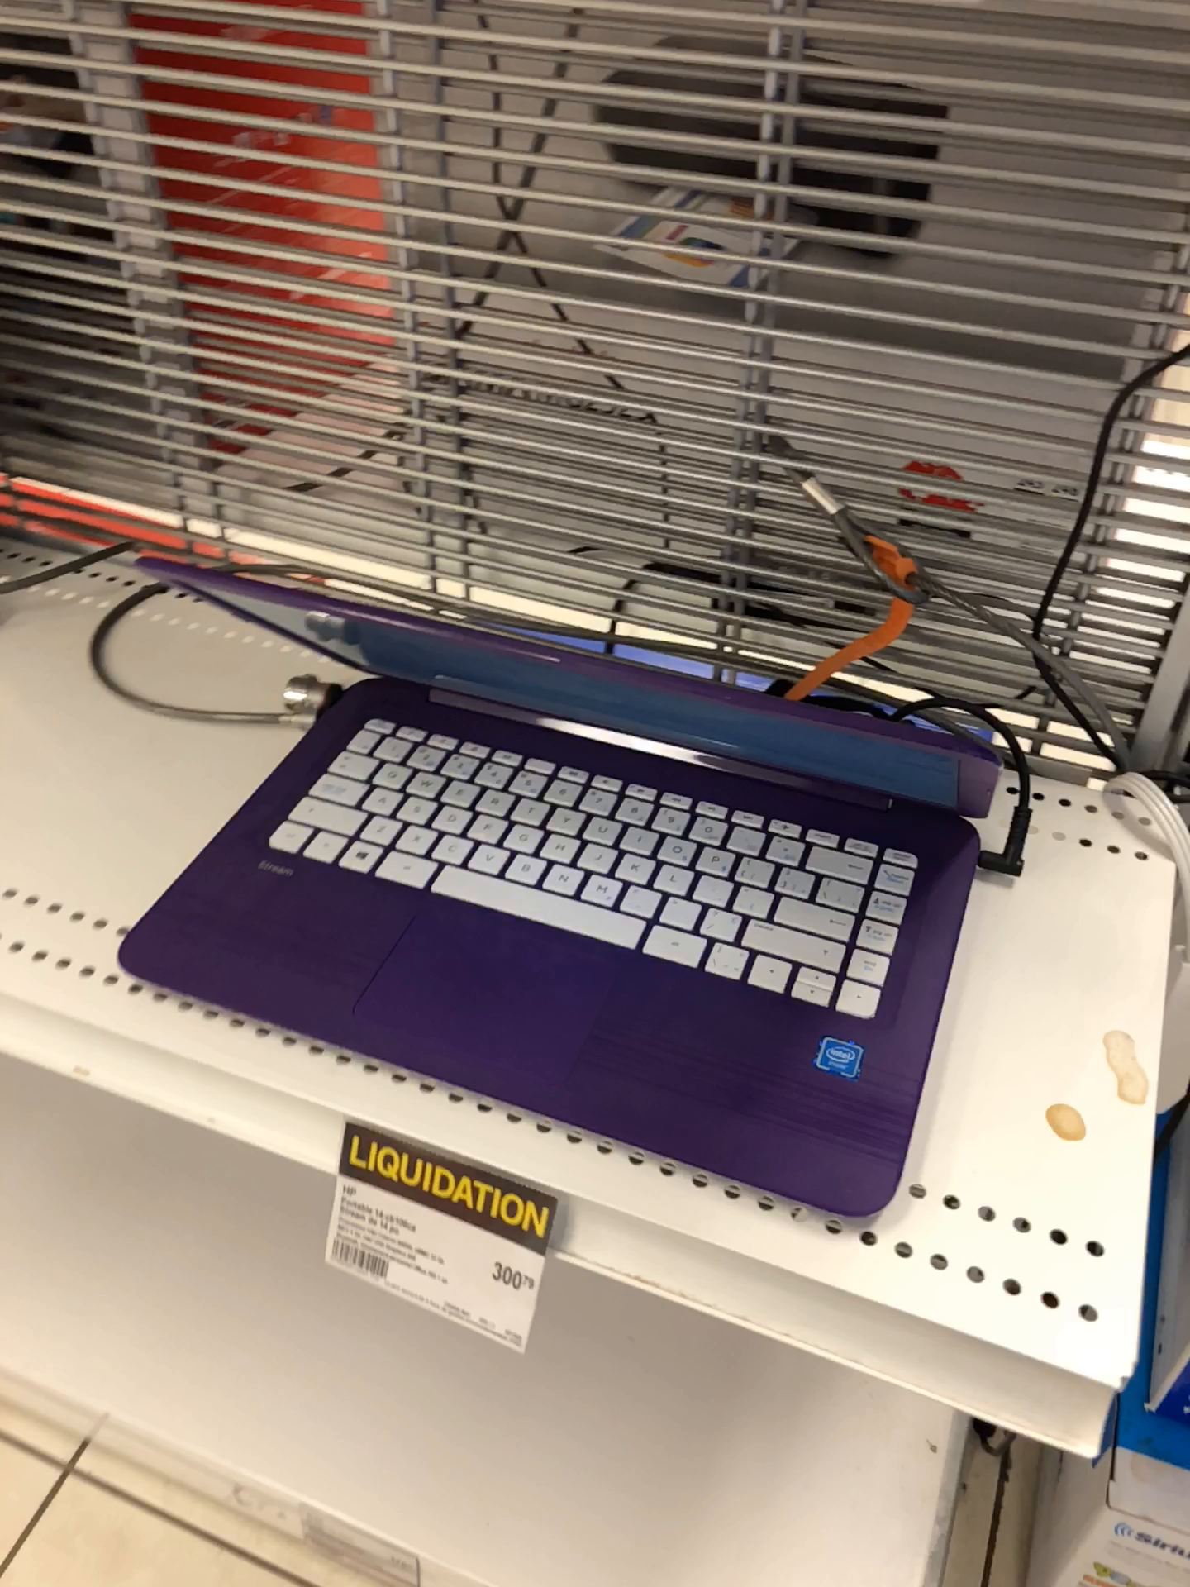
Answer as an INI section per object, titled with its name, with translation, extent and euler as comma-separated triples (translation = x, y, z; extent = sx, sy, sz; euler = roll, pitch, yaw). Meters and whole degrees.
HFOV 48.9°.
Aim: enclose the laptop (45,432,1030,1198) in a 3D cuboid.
[laptop]
translation = -0.012, -0.011, 0.531
extent = 0.305, 0.138, 0.206
euler = 15, 45, 17
